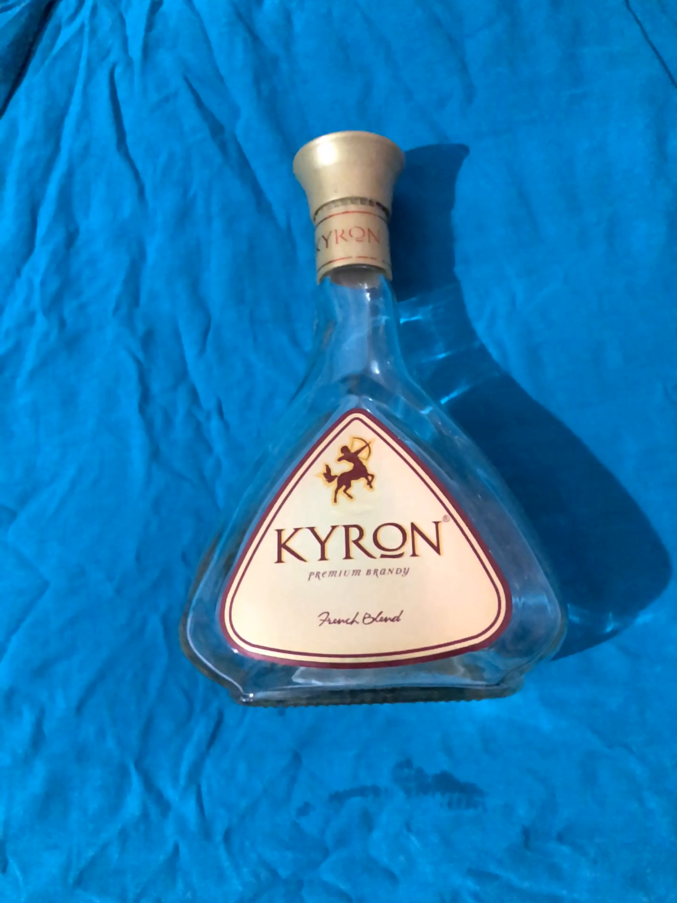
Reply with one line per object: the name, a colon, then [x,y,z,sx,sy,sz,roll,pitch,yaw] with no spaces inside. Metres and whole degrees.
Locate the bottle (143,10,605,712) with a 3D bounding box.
bottle: [0.010,-0.029,0.304,0.150,0.080,0.240,-5,81,10]
